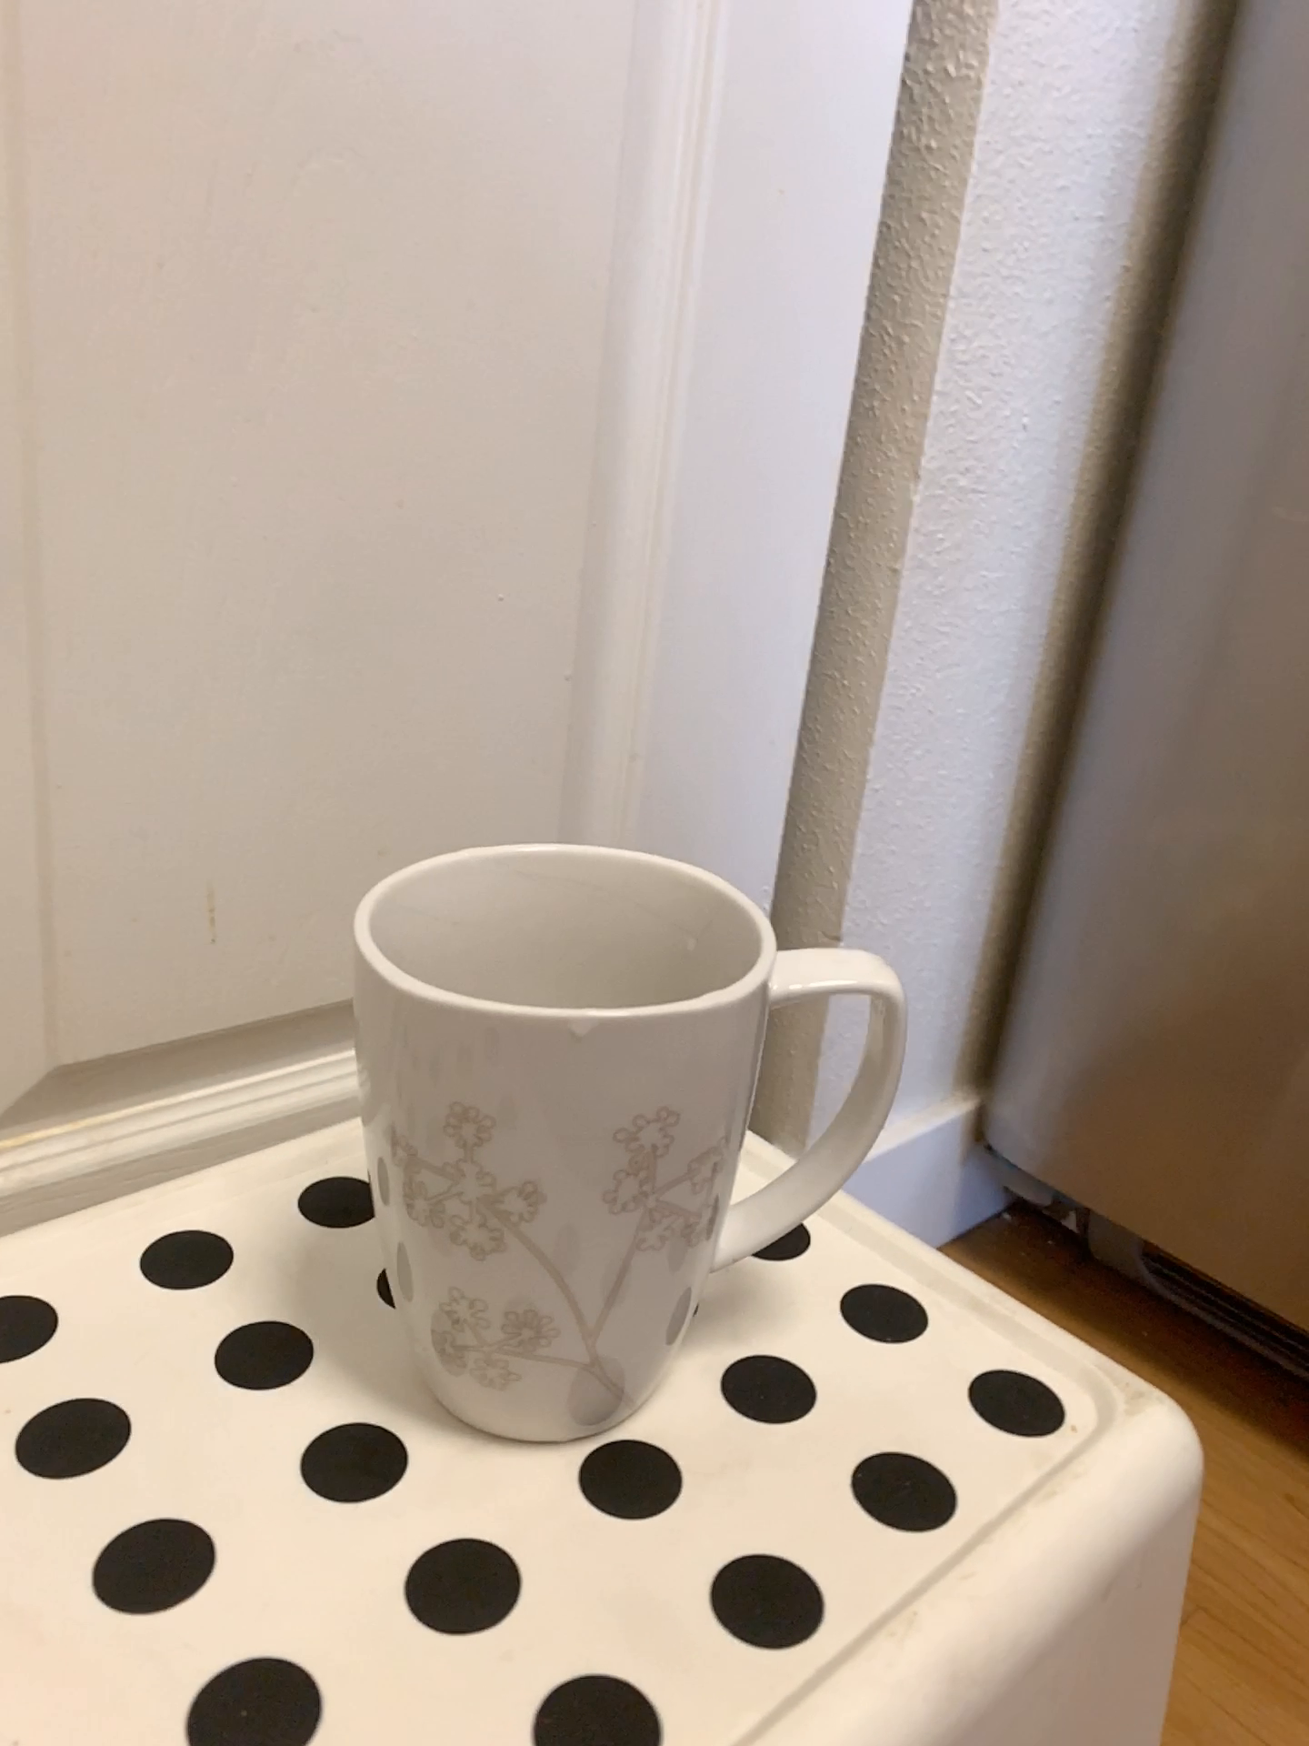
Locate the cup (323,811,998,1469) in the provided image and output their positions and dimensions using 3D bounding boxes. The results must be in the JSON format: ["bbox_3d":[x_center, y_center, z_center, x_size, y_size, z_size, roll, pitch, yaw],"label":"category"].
[{"bbox_3d":[-0.007,0.051,0.290,0.120,0.110,0.070,0,21,-16],"label":"cup"}]
